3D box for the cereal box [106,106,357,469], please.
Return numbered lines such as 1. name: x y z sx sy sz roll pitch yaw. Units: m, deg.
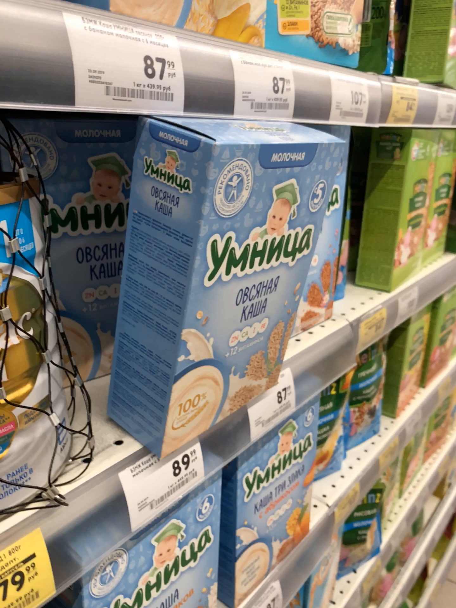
1. cereal box: 0.001 -0.015 0.349 0.060 0.209 0.140 28 29 31
